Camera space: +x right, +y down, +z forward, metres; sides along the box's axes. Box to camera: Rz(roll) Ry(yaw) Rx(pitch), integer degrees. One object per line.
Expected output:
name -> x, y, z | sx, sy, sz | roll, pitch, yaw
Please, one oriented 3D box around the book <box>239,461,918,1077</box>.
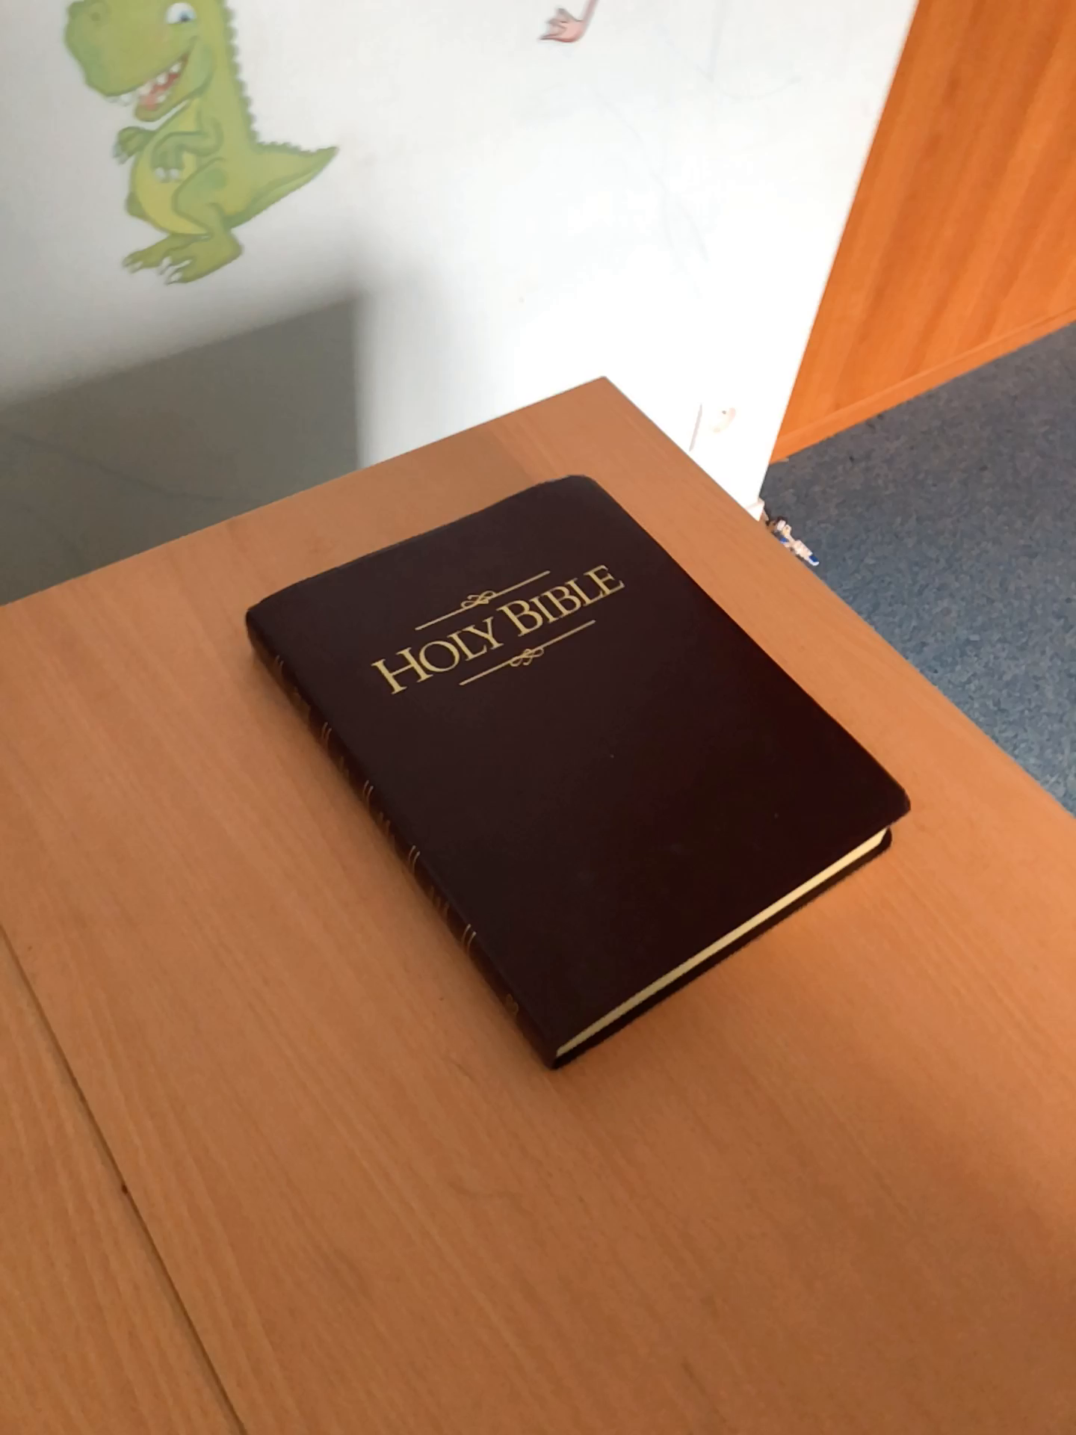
book -> 0.014, 0.003, 0.607 | 0.224, 0.040, 0.280 | -27, 62, -25
